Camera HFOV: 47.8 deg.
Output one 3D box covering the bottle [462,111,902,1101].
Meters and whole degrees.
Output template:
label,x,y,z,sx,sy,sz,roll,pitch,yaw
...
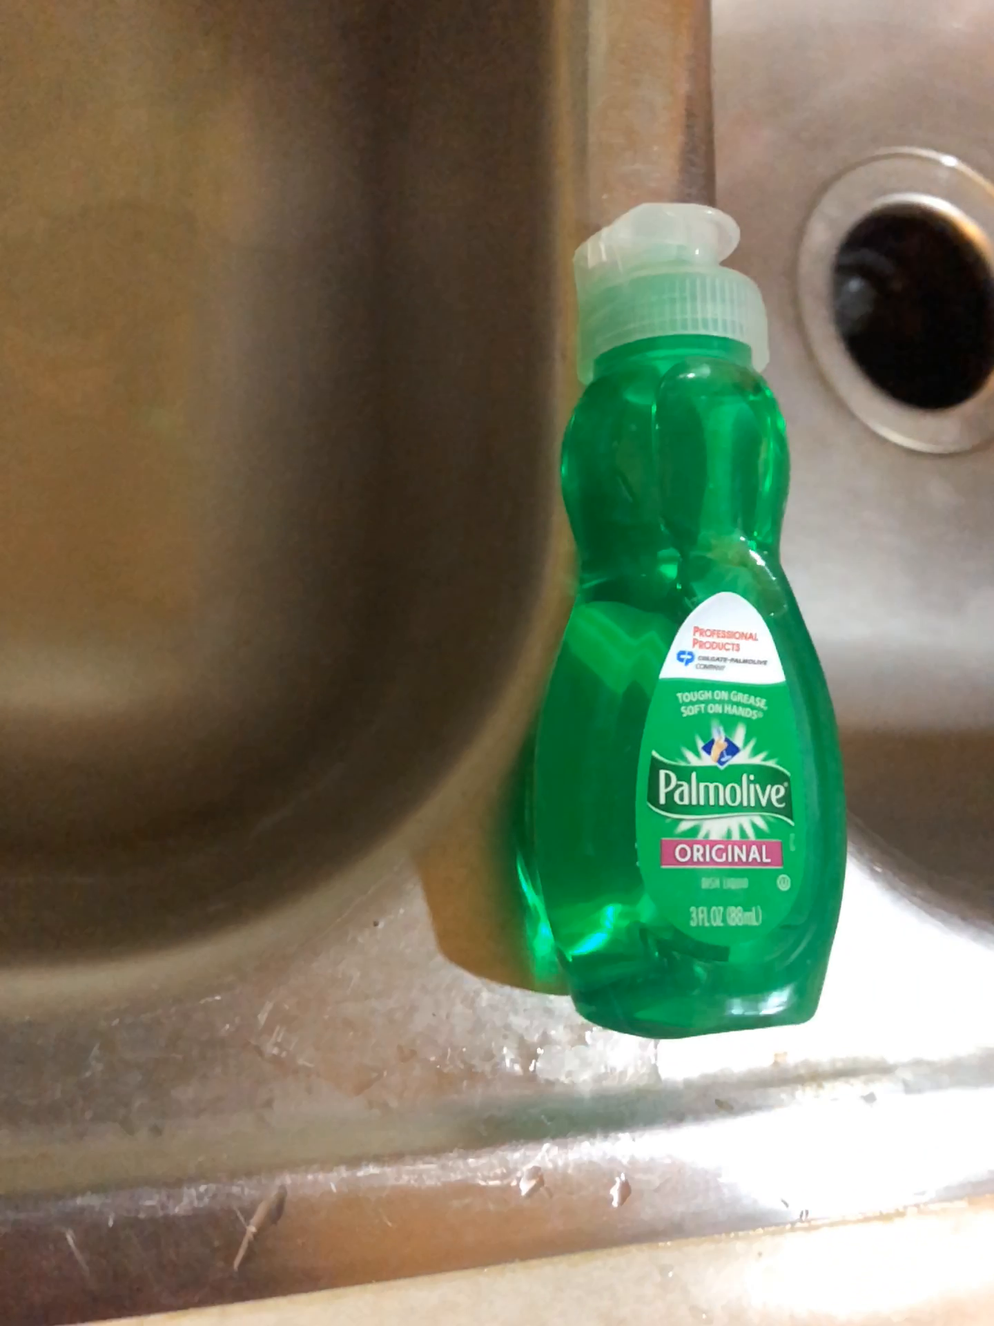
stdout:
label,x,y,z,sx,sy,sz,roll,pitch,yaw
bottle,0.025,-0.009,0.167,0.050,0.030,0.130,1,82,-18
